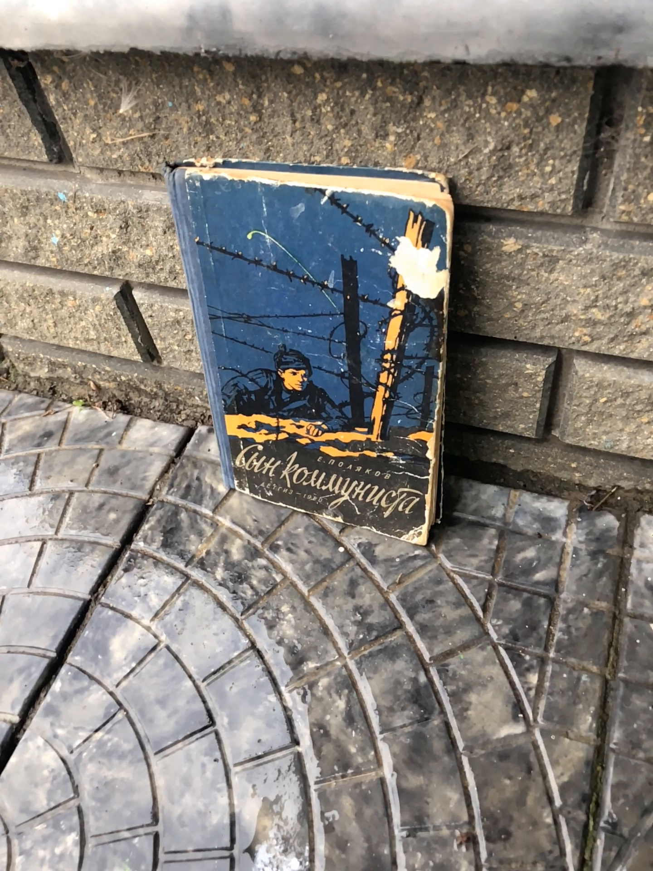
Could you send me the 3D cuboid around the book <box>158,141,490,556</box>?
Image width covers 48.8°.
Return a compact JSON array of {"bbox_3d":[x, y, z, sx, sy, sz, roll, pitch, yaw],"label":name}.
[{"bbox_3d":[0.000,-0.038,0.375,0.140,0.199,0.040,14,42,19],"label":"book"}]
